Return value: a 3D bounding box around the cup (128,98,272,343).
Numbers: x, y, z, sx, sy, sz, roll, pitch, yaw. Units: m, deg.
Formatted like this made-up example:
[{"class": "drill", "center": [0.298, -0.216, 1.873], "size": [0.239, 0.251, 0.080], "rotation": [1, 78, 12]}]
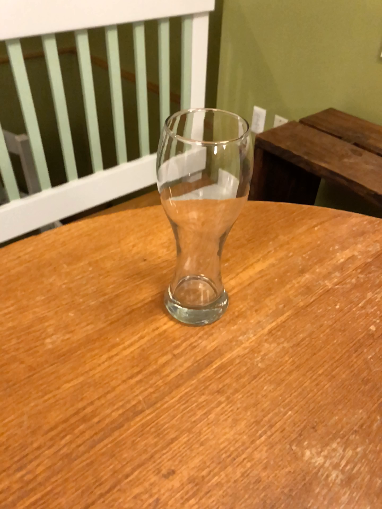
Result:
[{"class": "cup", "center": [0.006, -0.029, 0.438], "size": [0.093, 0.222, 0.088], "rotation": [1, 39, -1]}]
